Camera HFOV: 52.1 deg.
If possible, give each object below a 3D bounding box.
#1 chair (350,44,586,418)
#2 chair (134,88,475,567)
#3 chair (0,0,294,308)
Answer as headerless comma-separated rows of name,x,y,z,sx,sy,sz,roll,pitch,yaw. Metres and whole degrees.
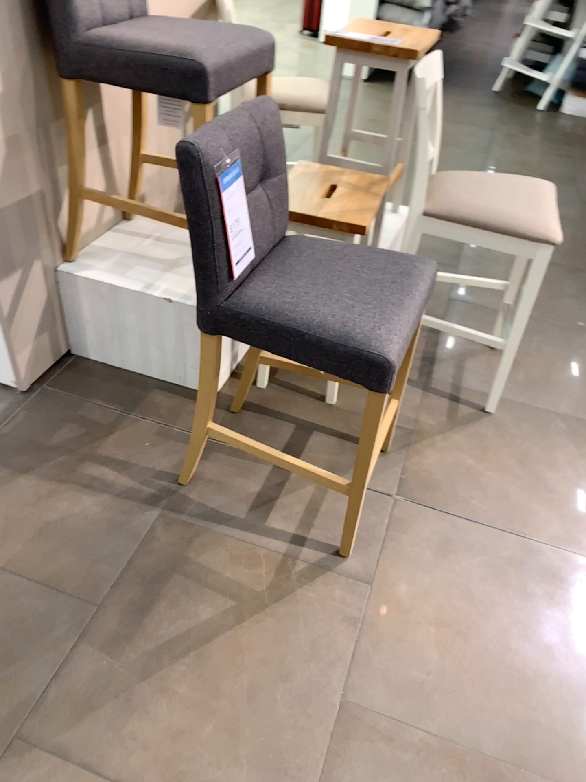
chair,0.544,-0.488,1.893,0.499,0.938,0.511,15,40,12
chair,0.024,-0.132,1.422,0.519,0.908,0.490,16,41,12
chair,-0.372,-0.821,1.672,0.539,0.918,0.551,15,40,12
